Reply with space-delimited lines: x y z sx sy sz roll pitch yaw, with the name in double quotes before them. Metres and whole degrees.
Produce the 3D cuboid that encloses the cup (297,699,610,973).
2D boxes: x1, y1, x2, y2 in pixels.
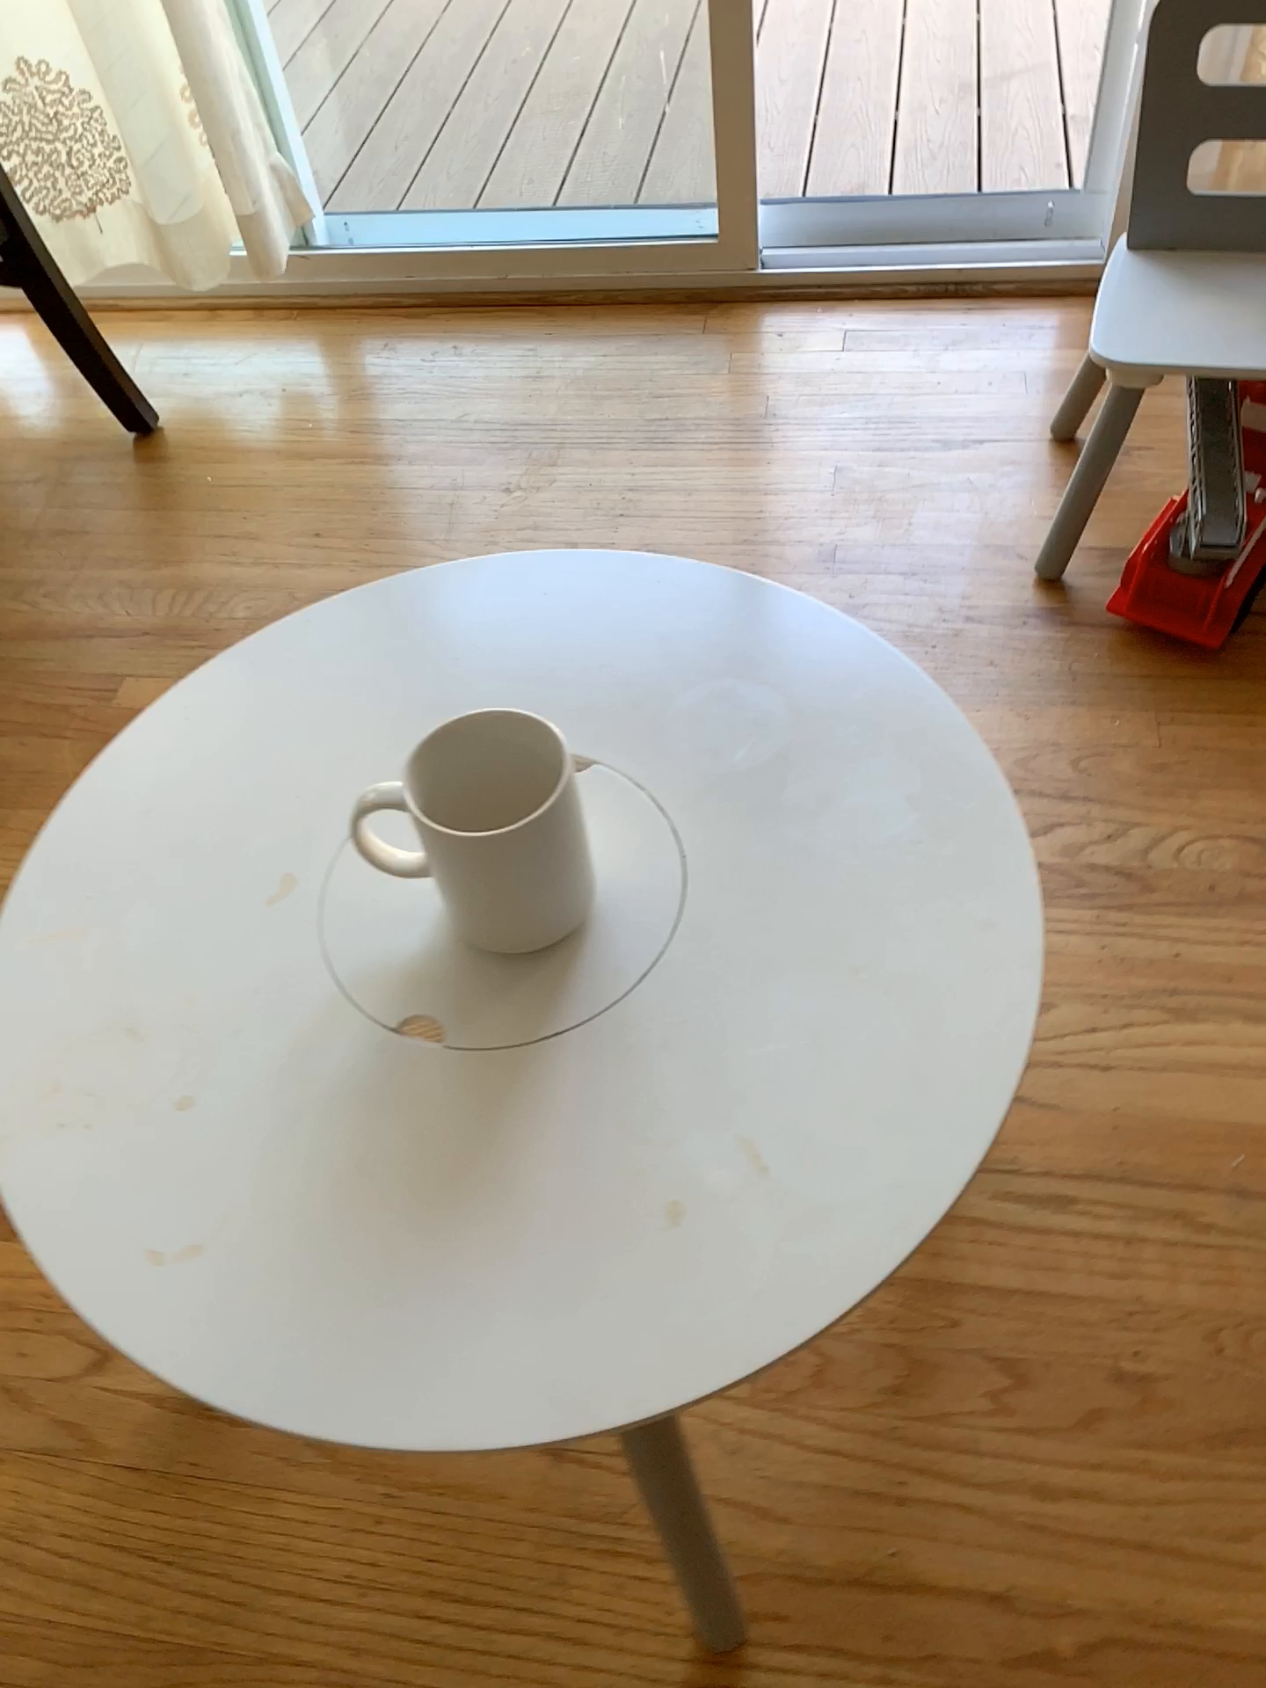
"cup" -0.088 -0.005 0.684 0.130 0.090 0.110 1 52 8
